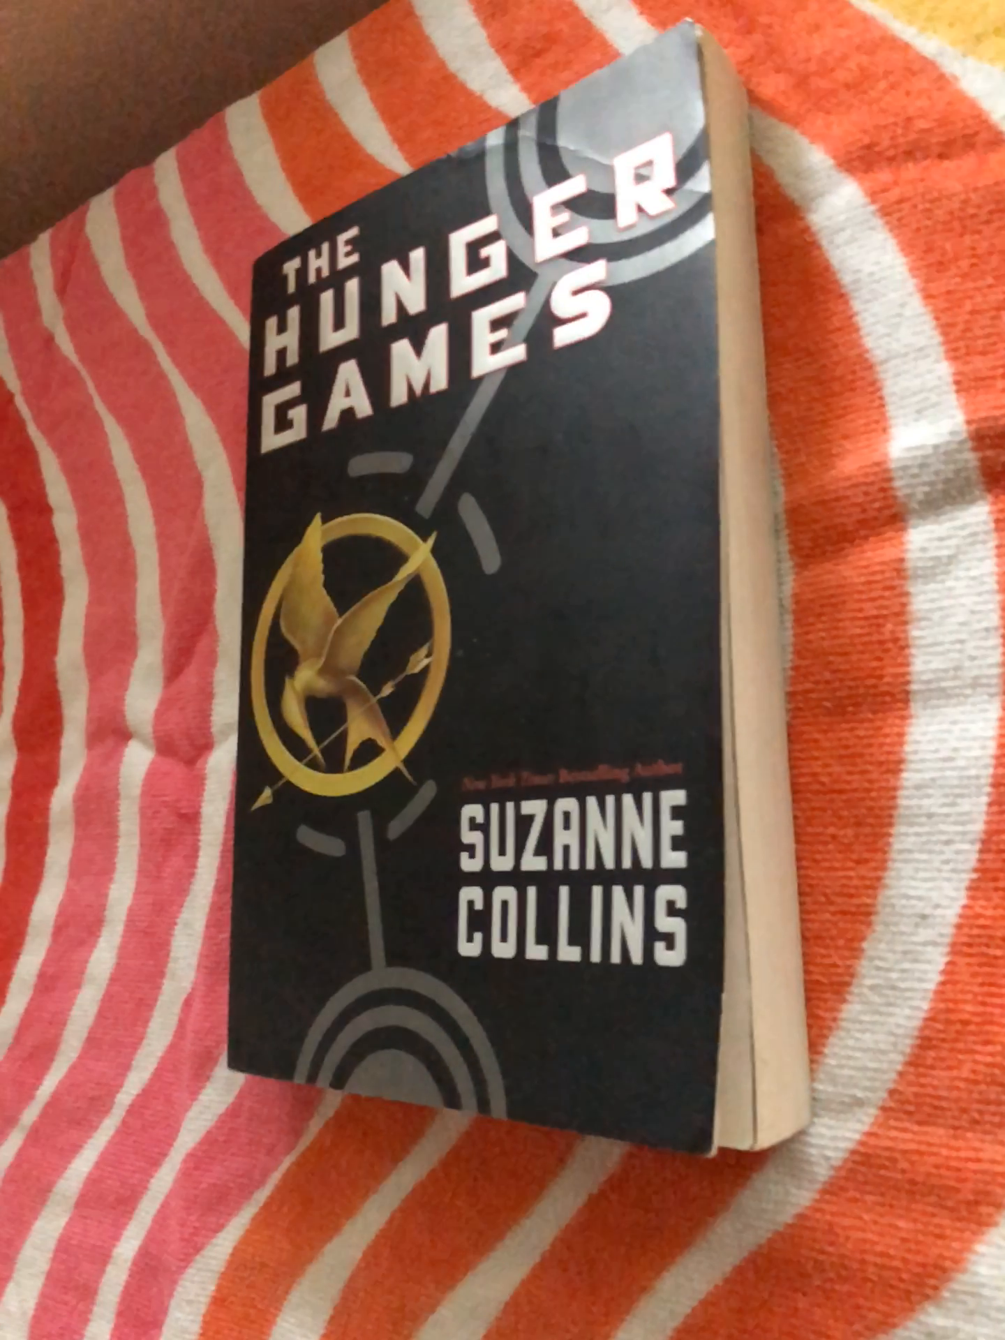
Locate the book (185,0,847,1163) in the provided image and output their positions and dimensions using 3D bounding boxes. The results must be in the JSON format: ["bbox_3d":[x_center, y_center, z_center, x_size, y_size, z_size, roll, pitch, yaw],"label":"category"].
[{"bbox_3d":[-0.006,-0.015,0.240,0.138,0.037,0.200,-9,77,38],"label":"book"}]
